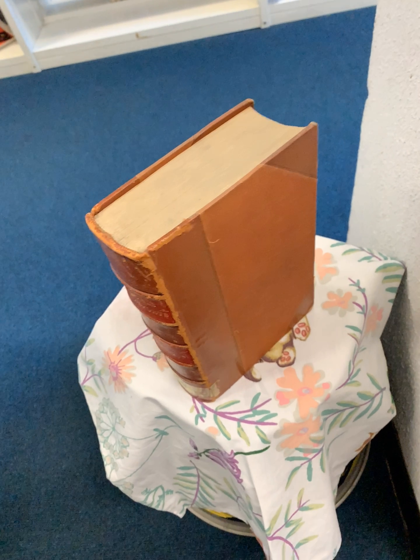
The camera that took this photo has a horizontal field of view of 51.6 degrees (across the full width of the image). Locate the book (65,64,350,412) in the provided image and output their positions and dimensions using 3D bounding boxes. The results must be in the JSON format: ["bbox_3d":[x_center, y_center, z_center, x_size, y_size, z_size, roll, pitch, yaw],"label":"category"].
[{"bbox_3d":[0.021,-0.015,0.383,0.190,0.248,0.070,-40,58,-17],"label":"book"}]
